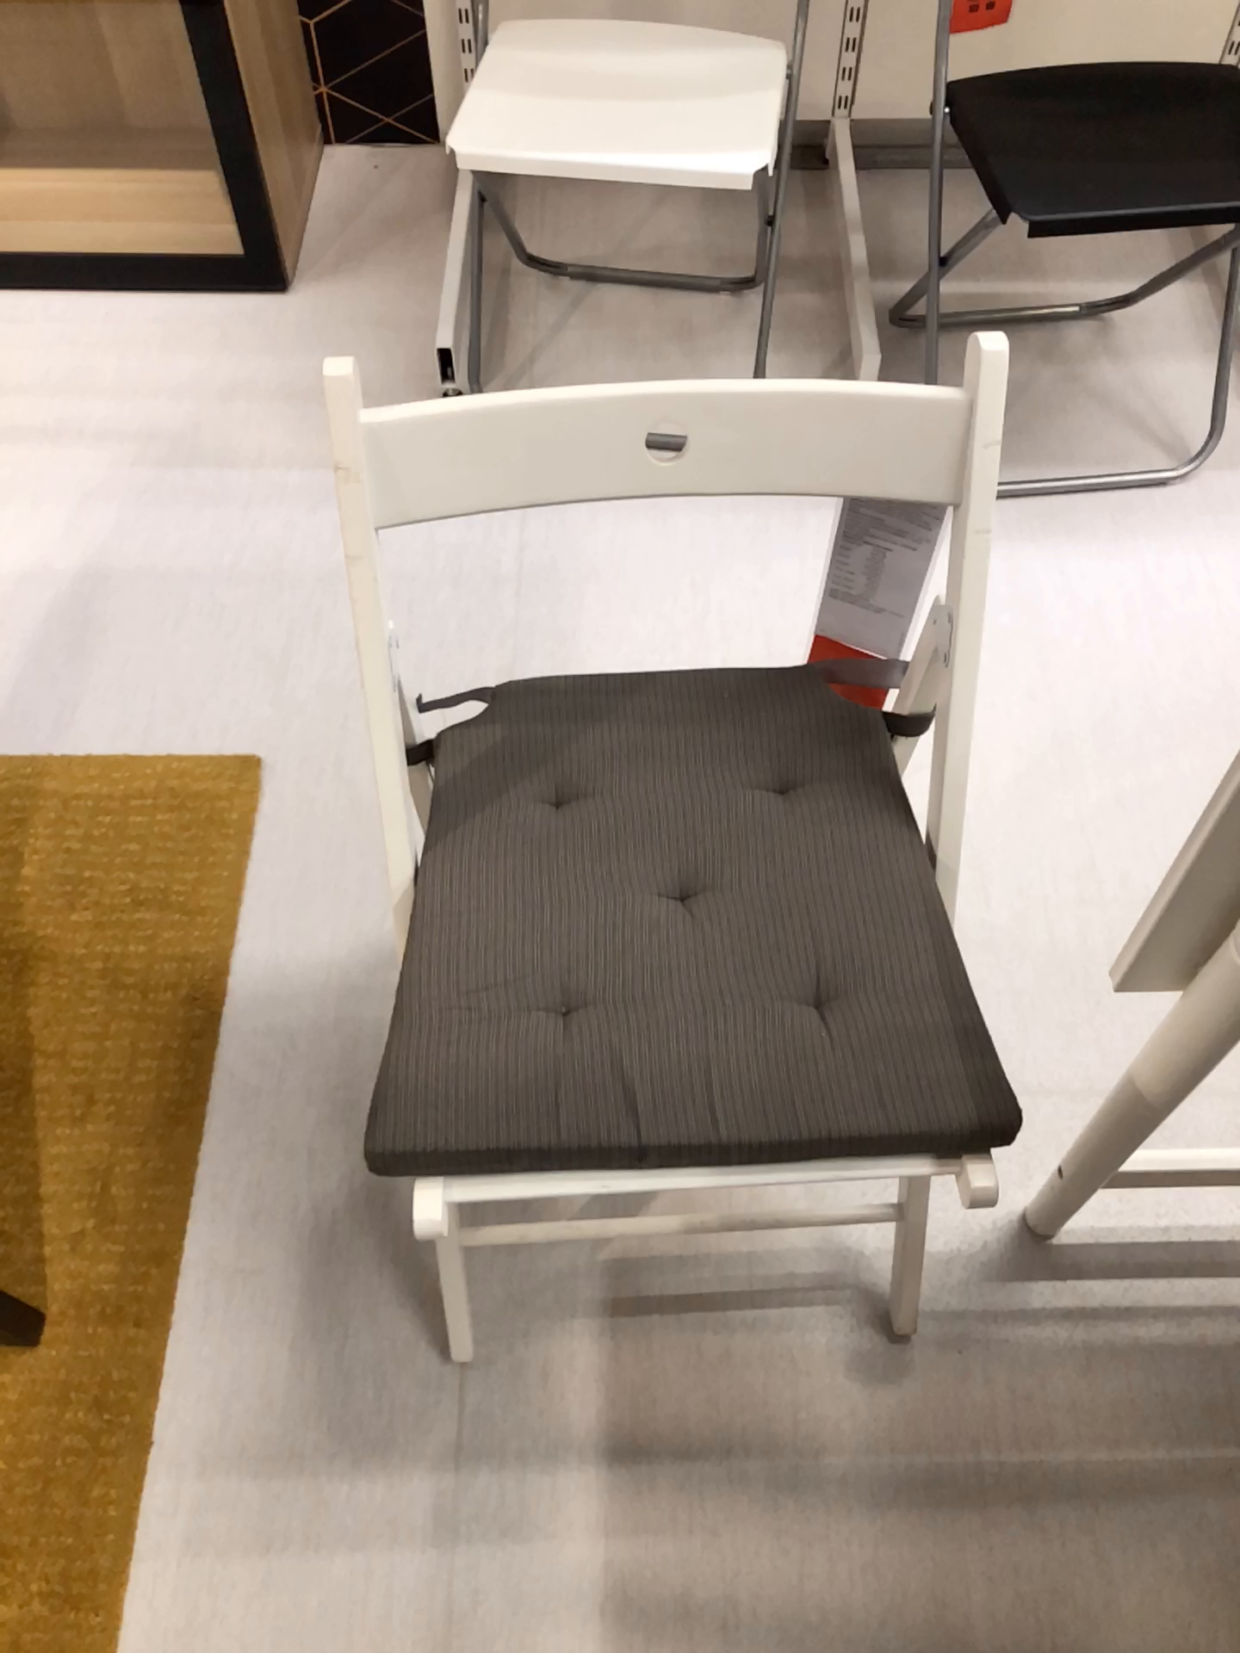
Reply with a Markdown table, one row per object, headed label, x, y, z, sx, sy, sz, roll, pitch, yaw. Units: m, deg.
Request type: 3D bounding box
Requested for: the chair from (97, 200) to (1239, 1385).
| label | x | y | z | sx | sy | sz | roll | pitch | yaw |
| --- | --- | --- | --- | --- | --- | --- | --- | --- | --- |
| chair | 0.027 | 0.048 | 0.902 | 0.440 | 0.696 | 0.452 | -2 | 57 | -1 |
